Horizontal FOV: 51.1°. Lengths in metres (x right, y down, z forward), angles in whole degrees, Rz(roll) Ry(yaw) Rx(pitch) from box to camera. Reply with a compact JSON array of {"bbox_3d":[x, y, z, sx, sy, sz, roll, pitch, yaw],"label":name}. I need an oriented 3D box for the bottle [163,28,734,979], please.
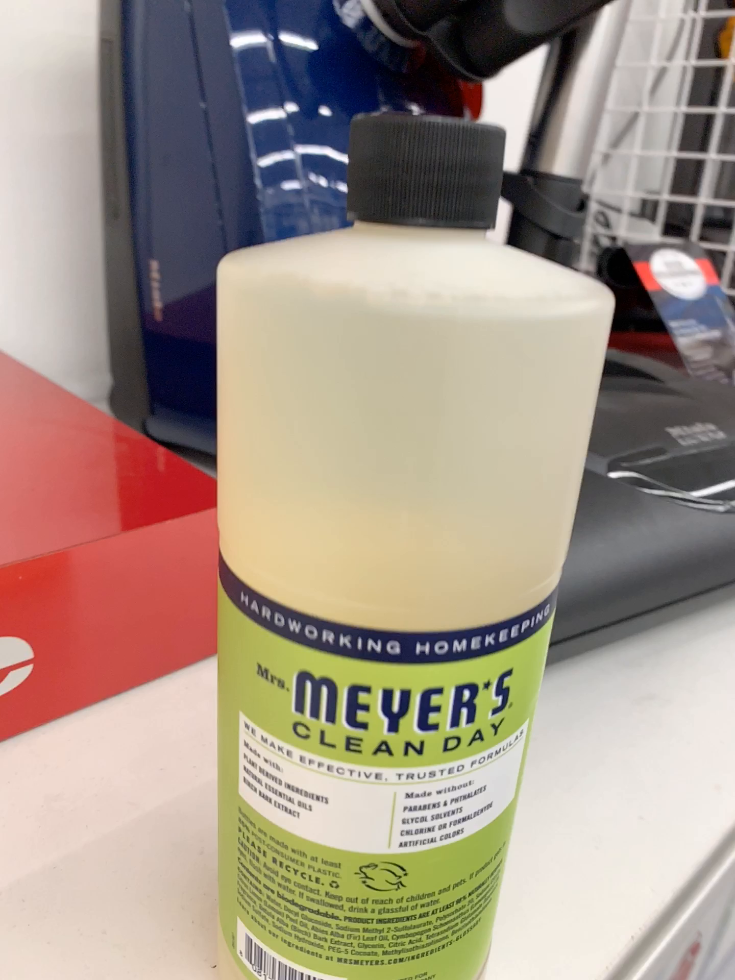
[{"bbox_3d":[0.003,0.030,0.198,0.090,0.239,0.090,4,23,-1],"label":"bottle"}]
